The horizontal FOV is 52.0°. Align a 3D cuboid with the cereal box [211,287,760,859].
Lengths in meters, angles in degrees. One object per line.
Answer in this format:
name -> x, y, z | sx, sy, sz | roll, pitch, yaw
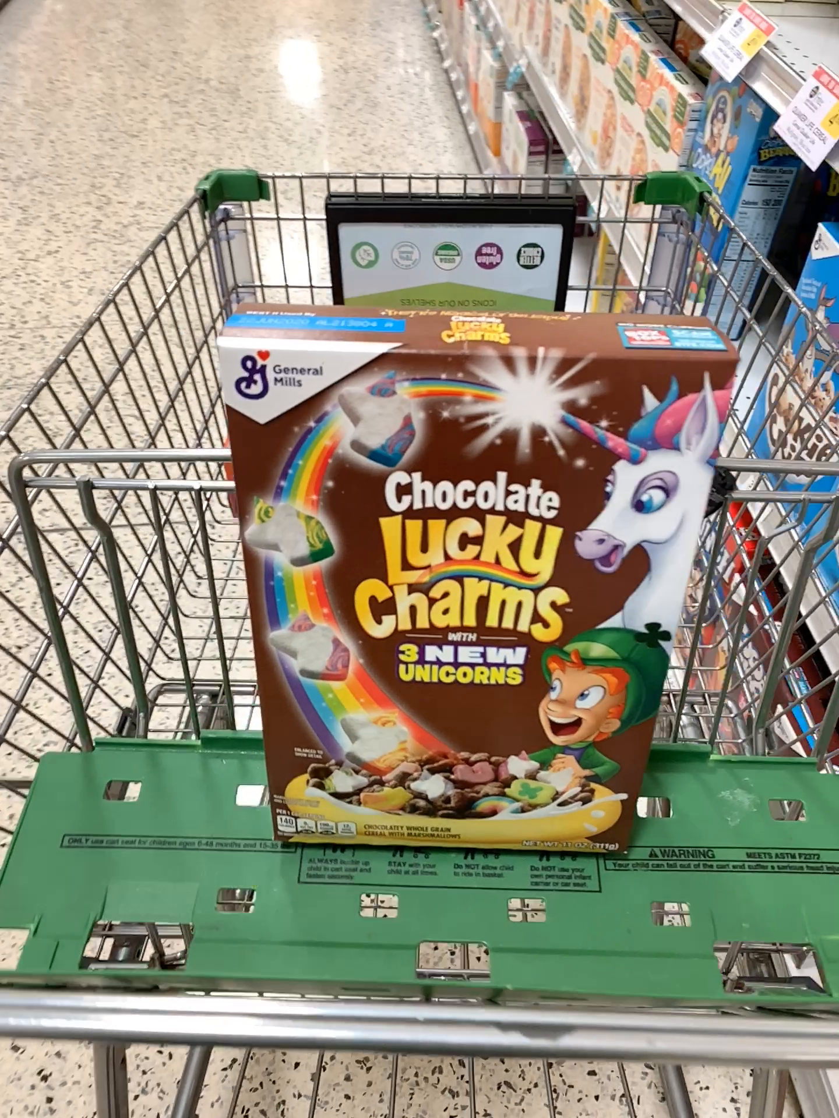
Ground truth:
cereal box -> 0.022, 0.027, 0.419 | 0.200, 0.297, 0.050 | 2, 35, 1
